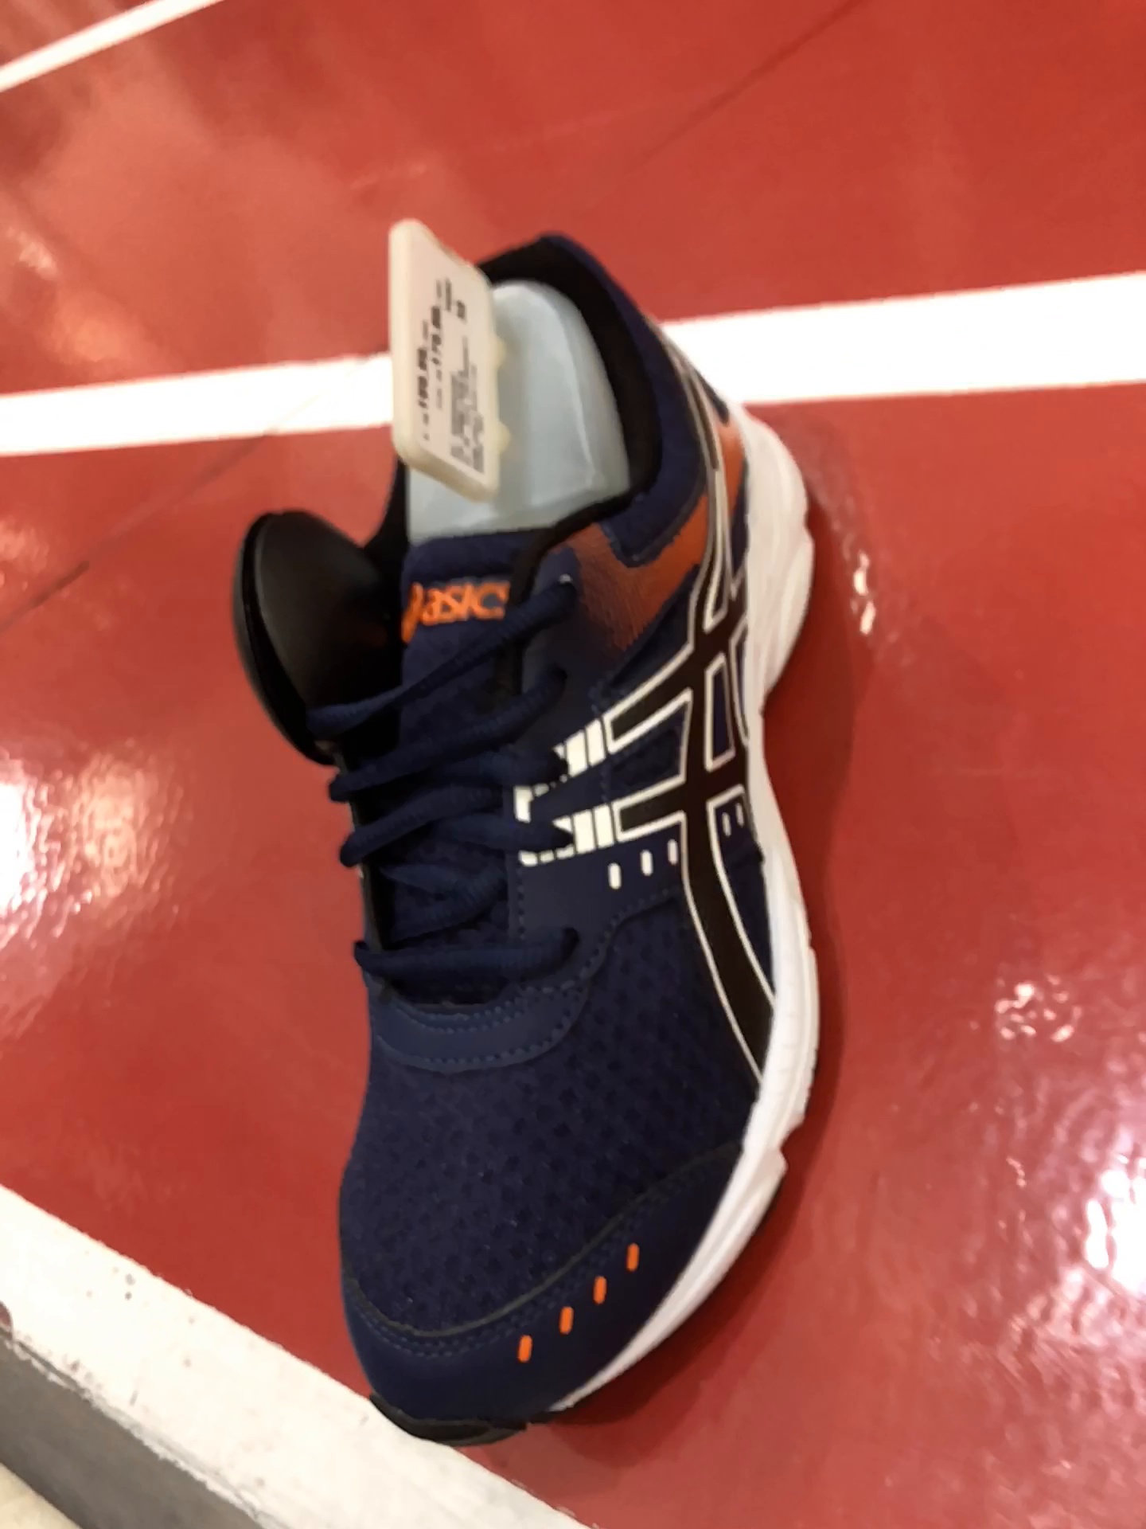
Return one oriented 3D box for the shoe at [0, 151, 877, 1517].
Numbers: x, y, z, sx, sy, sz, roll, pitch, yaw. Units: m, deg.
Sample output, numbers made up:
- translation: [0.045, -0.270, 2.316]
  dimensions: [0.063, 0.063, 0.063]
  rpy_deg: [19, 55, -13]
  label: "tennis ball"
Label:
- translation: [-0.009, 0.009, 0.272]
  dimensions: [0.100, 0.099, 0.241]
  rpy_deg: [-6, 60, 31]
  label: "shoe"
